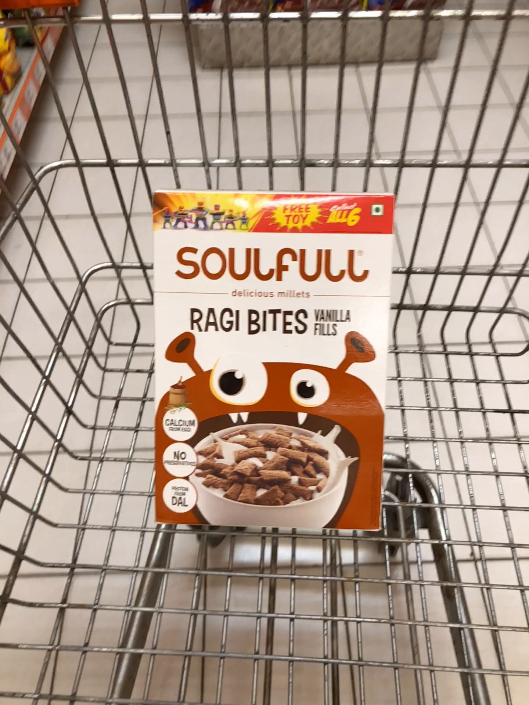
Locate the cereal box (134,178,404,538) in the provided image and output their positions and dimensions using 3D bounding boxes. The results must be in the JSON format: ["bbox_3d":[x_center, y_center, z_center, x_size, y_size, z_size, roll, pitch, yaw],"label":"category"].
[{"bbox_3d":[-0.001,0.004,0.445,0.180,0.250,0.070,2,9,1],"label":"cereal box"}]
